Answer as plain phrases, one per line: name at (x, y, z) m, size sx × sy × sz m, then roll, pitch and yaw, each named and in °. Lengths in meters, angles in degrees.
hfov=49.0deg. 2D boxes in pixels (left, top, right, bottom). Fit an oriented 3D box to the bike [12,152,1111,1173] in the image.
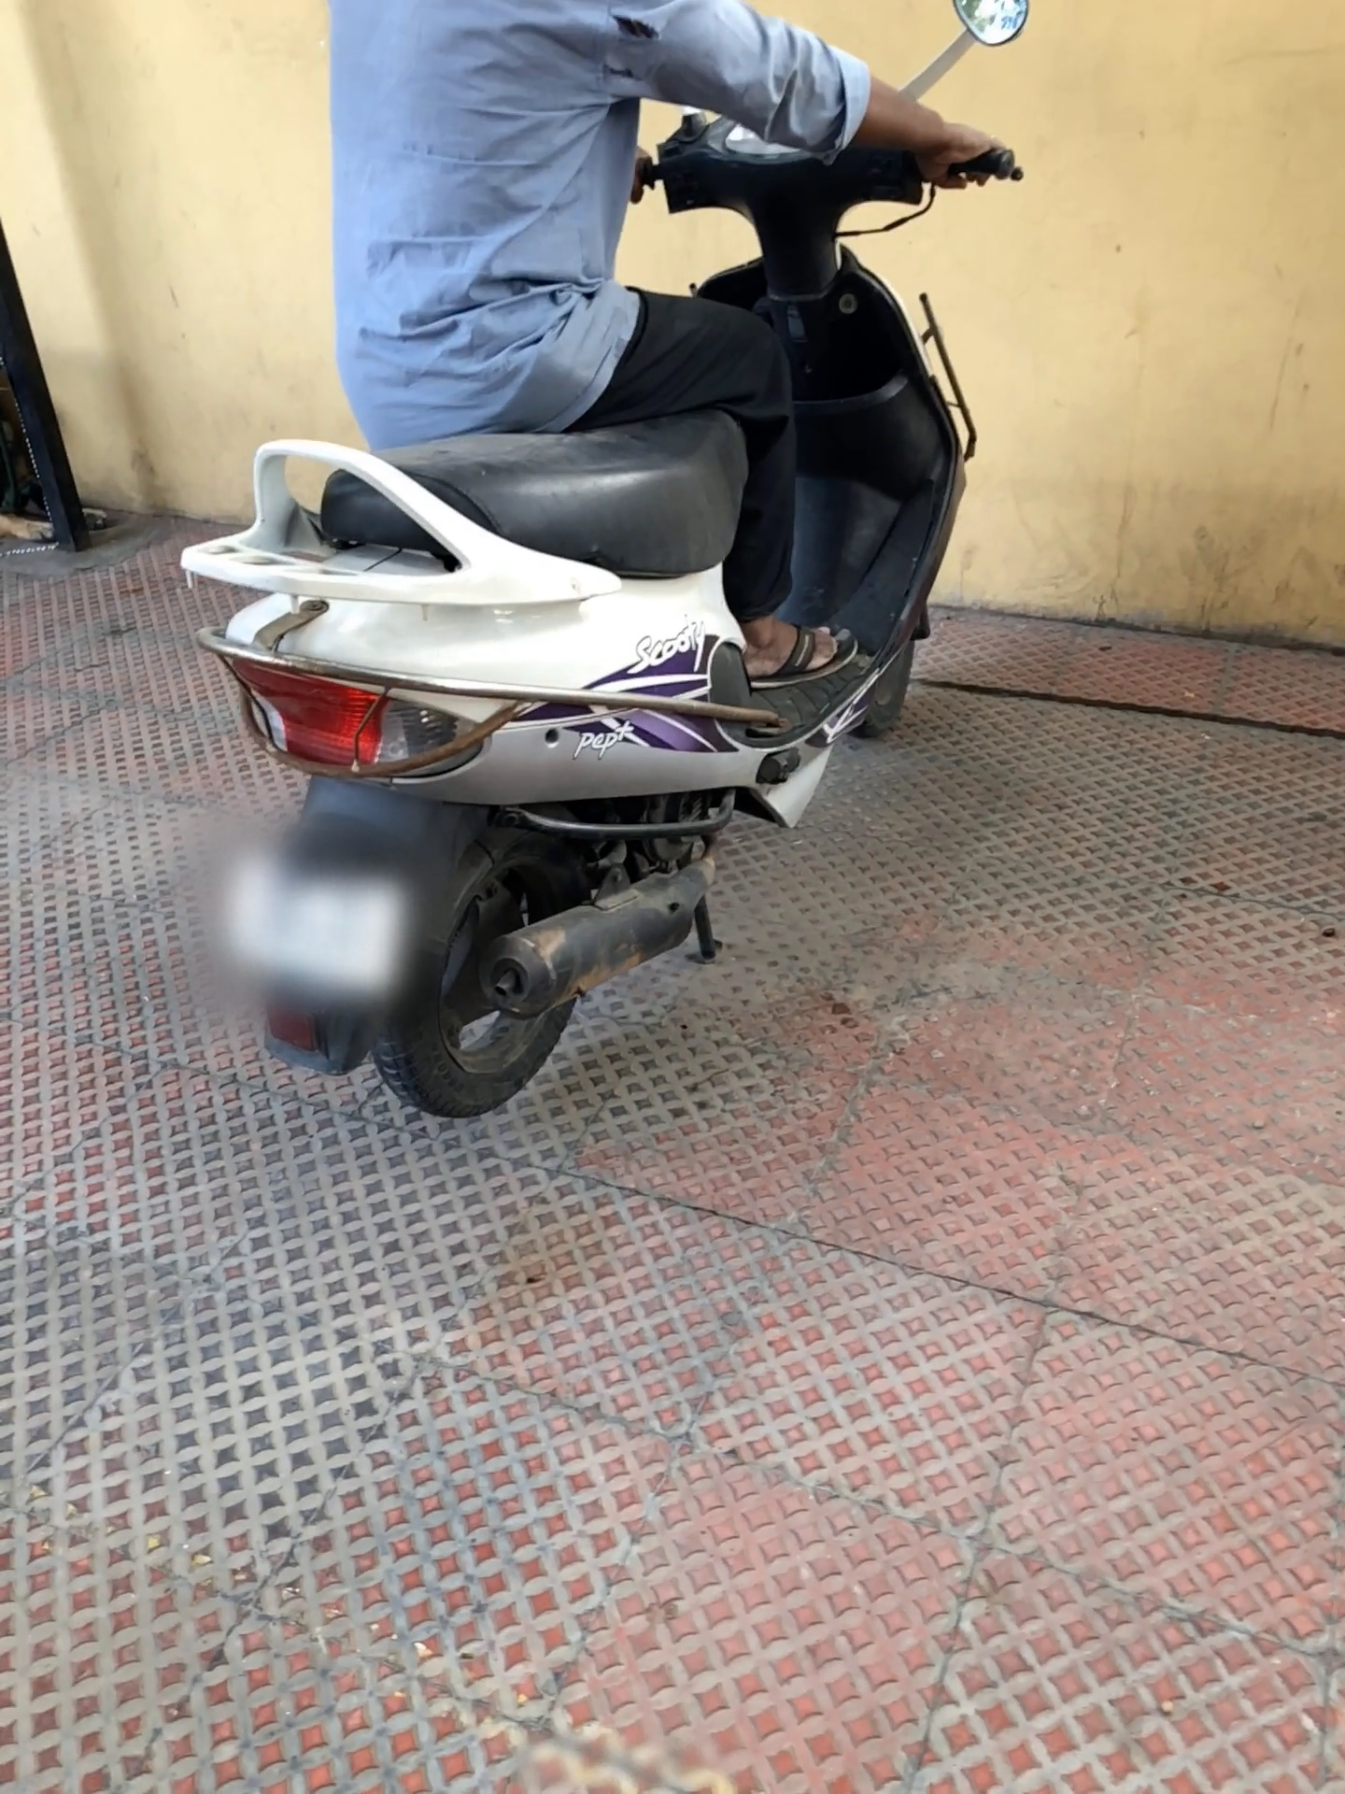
bike at (0.058, -0.503, 2.063) m, size 0.598 × 0.816 × 1.620 m, roll 14°, pitch 36°, yaw 26°
